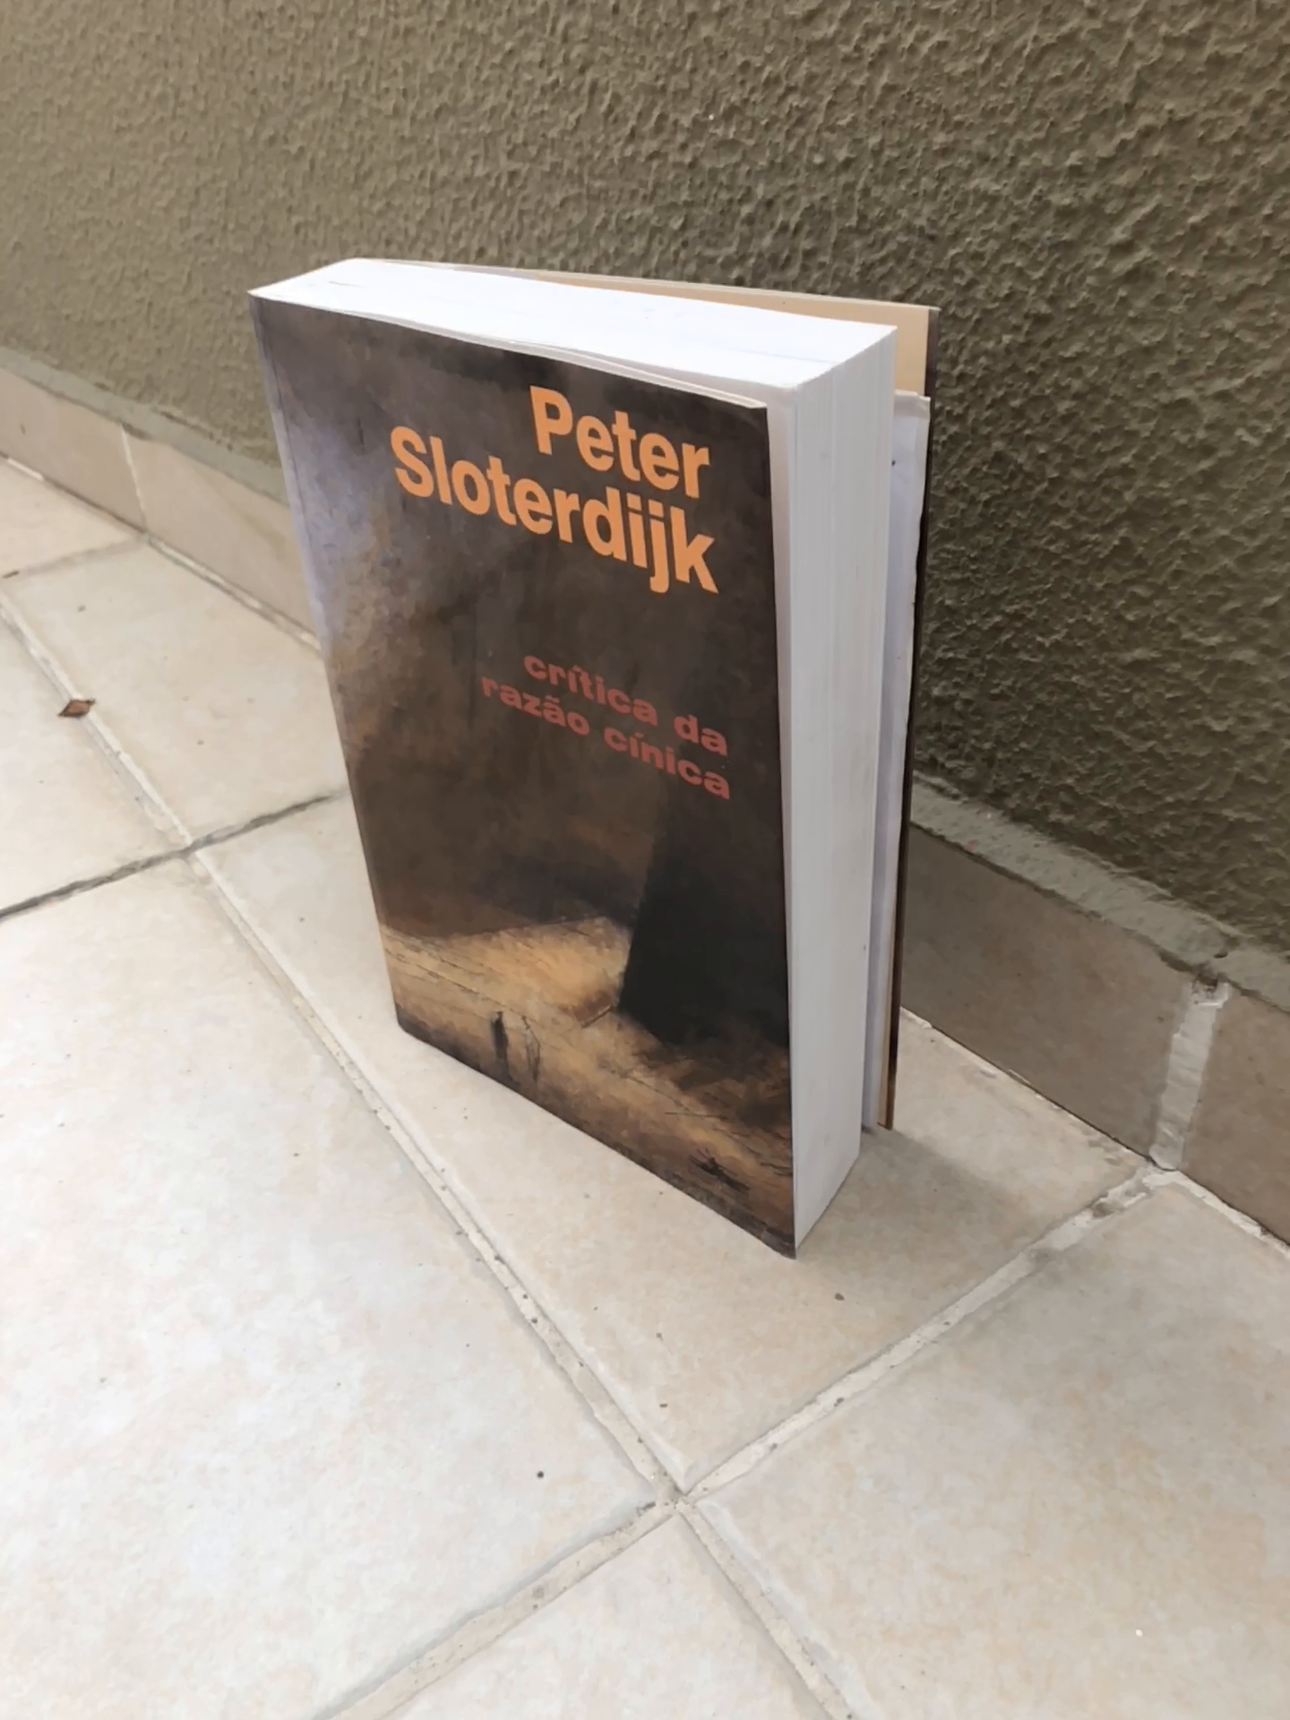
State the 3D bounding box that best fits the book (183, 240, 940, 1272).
[{"bbox_3d":[-0.018,-0.027,0.364,0.166,0.220,0.058,23,43,34],"label":"book"}]
